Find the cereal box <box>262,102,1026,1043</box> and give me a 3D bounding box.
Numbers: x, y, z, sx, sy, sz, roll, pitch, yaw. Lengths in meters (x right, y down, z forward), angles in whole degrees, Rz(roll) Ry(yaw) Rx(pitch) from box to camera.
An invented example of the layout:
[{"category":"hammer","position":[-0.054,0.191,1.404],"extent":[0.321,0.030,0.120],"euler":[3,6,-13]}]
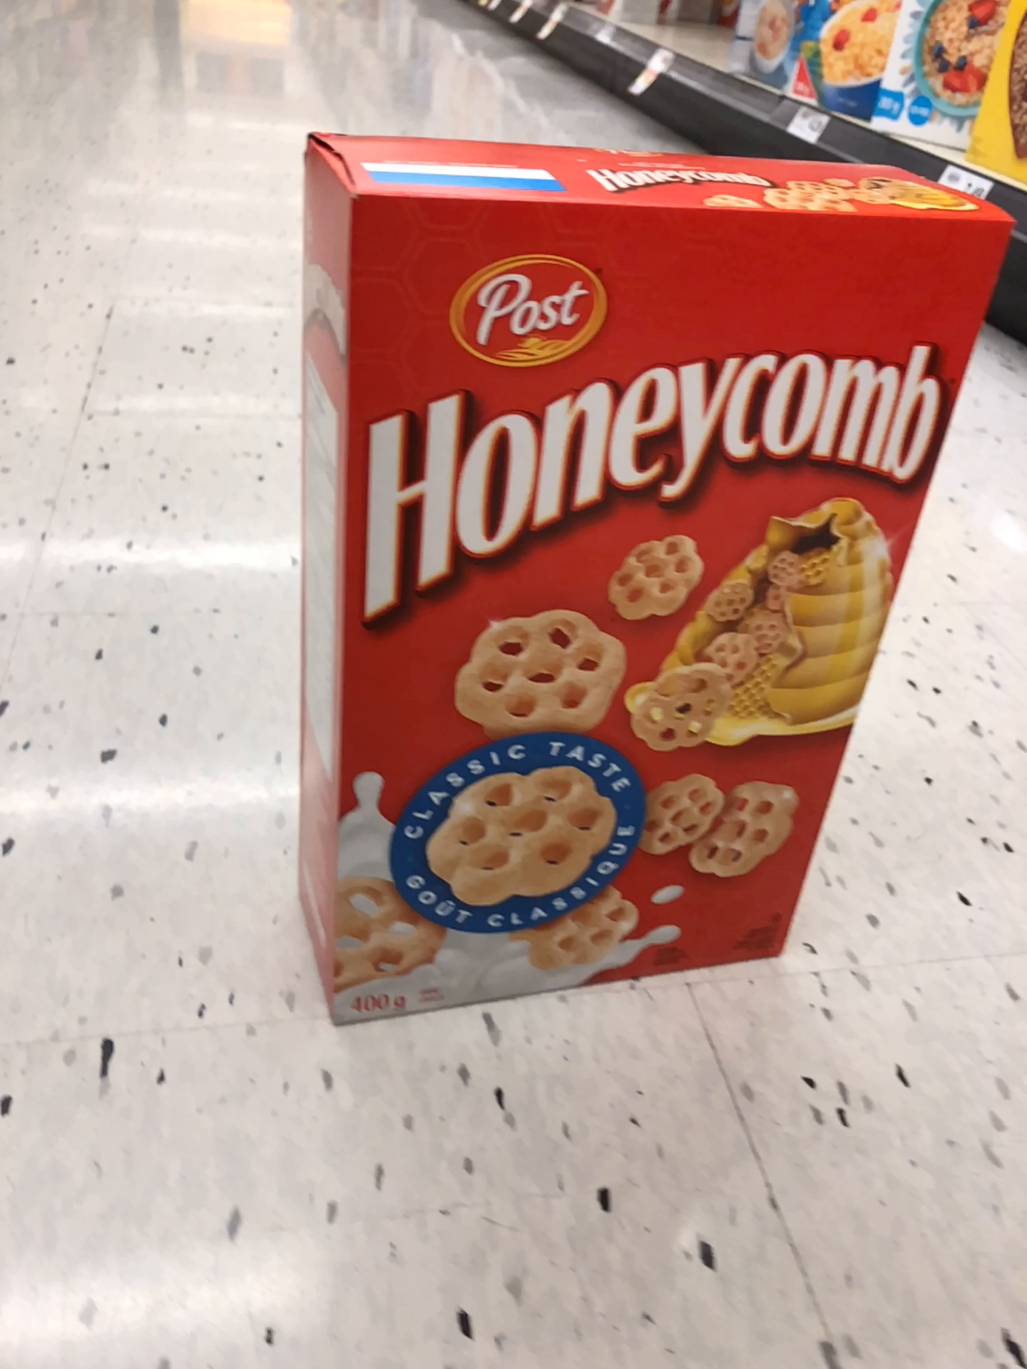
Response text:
[{"category":"cereal box","position":[0.026,-0.025,0.401],"extent":[0.210,0.298,0.091],"euler":[-4,36,-17]}]
